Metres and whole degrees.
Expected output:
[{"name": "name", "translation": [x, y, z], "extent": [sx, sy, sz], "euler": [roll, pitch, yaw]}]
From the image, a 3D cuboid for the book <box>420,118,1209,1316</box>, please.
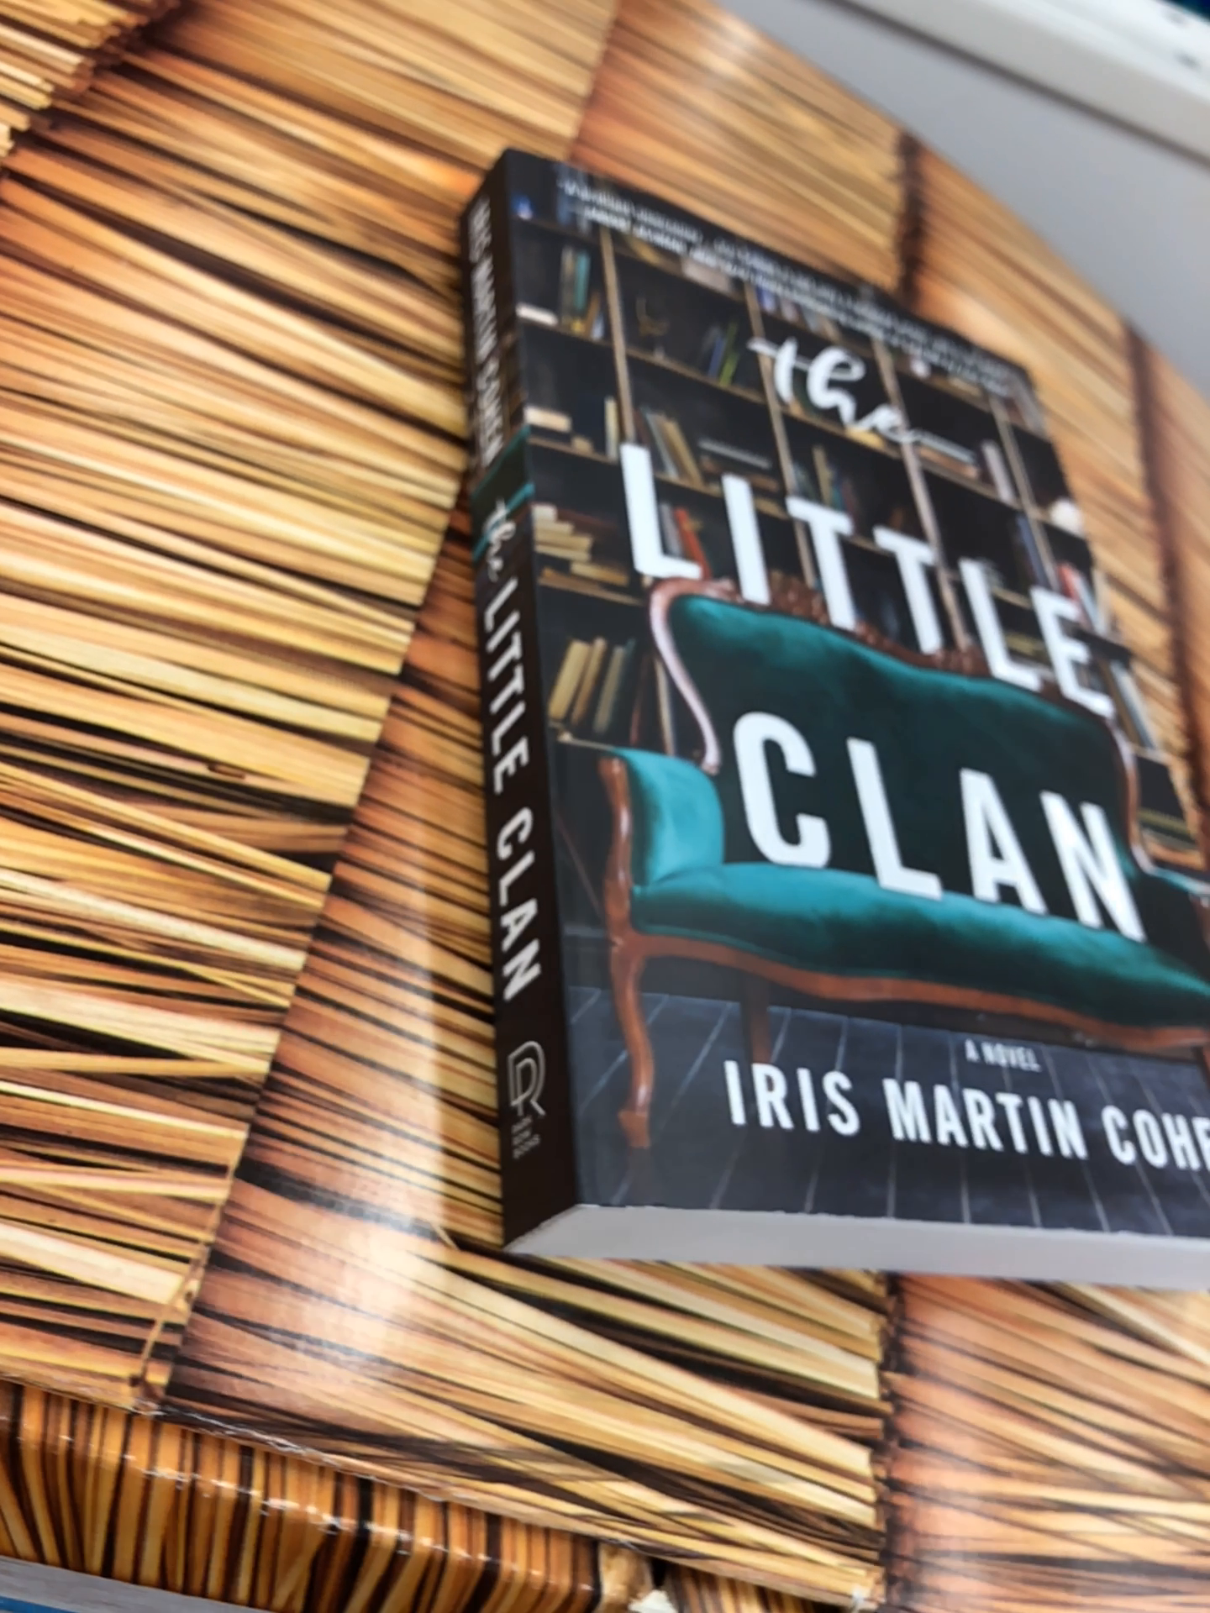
[{"name": "book", "translation": [0.037, -0.022, 0.225], "extent": [0.130, 0.030, 0.190], "euler": [12, 52, -24]}]
